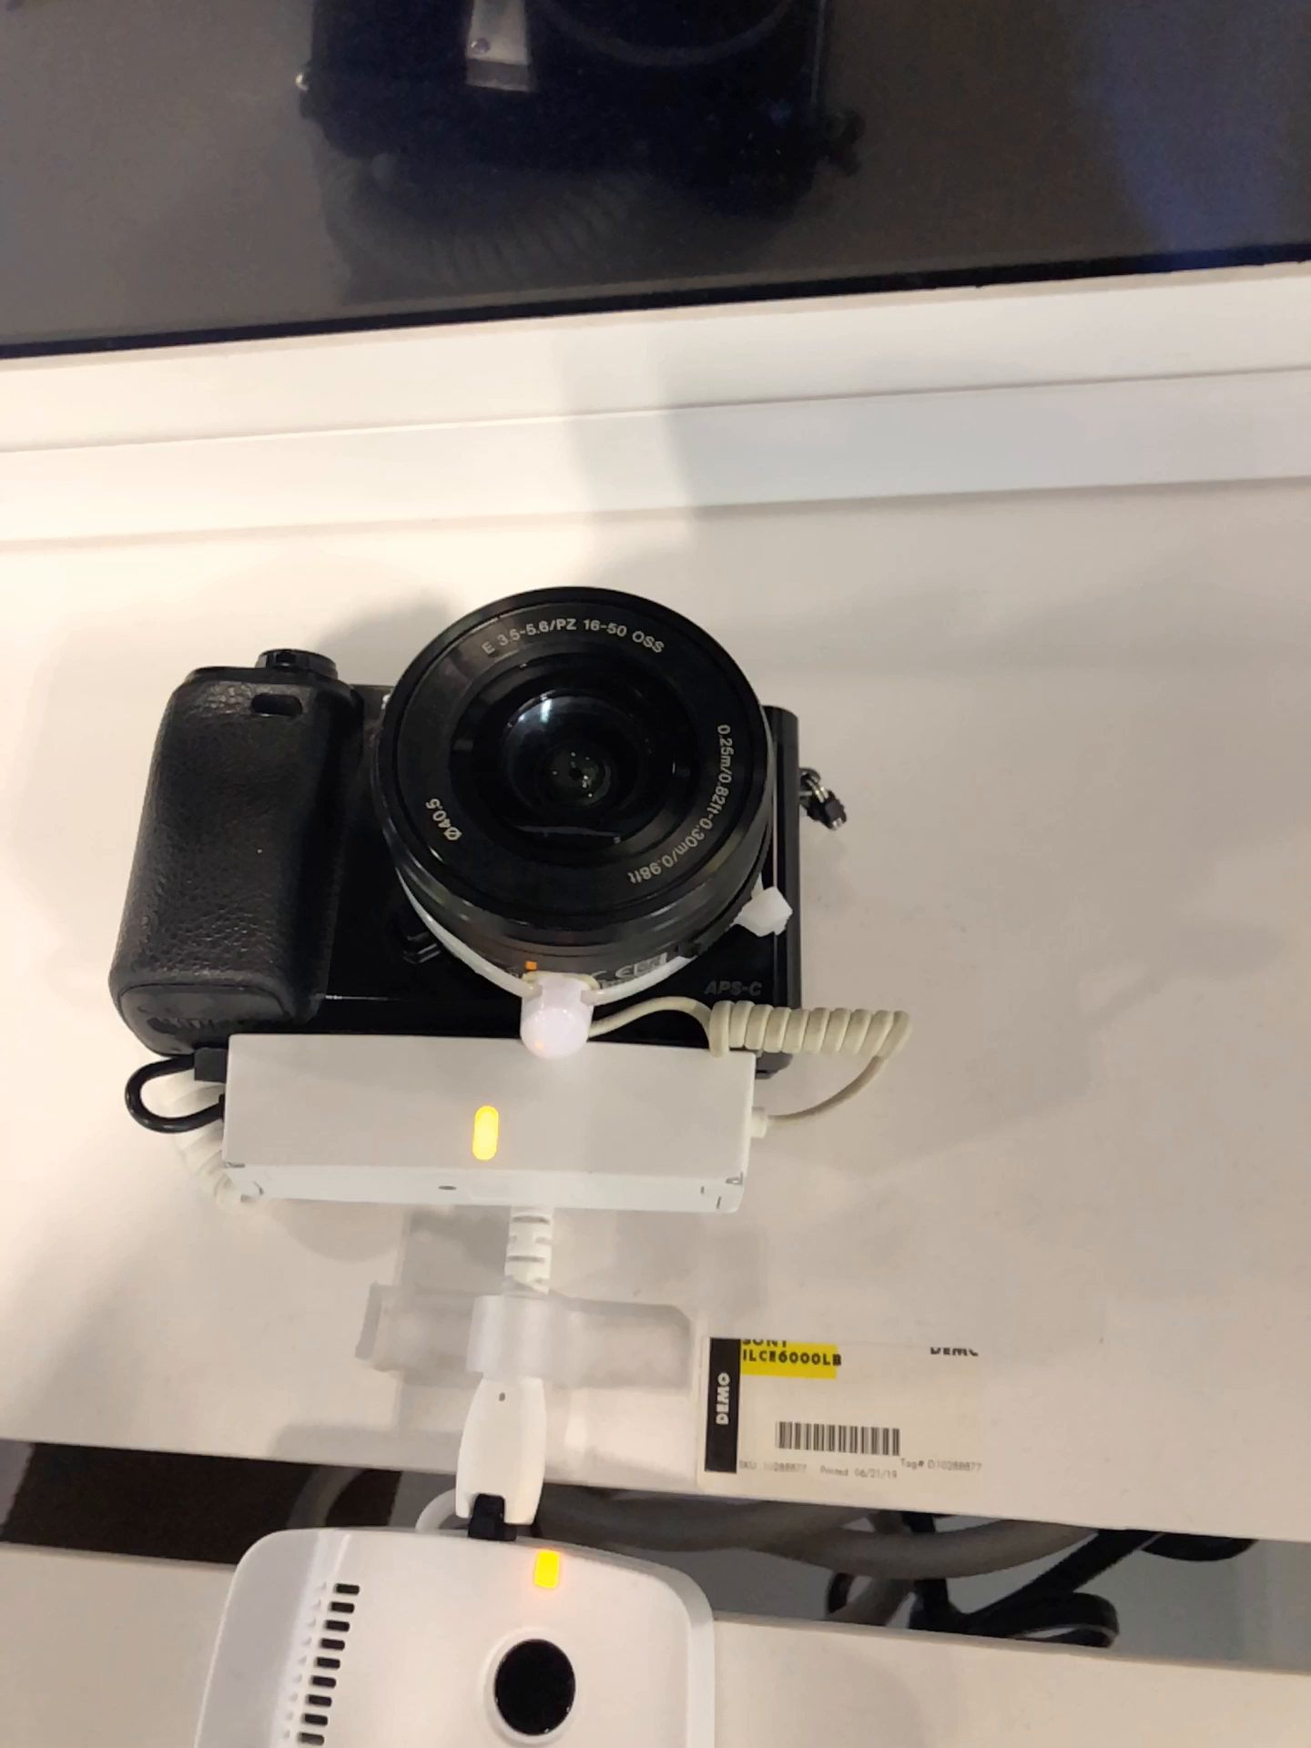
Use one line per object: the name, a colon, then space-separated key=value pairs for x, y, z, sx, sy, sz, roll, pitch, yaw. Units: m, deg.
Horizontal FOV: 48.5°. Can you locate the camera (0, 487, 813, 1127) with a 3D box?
camera: x=-0.040 y=-0.010 z=0.264 sx=0.130 sy=0.070 sz=0.090 roll=2 pitch=68 yaw=3
